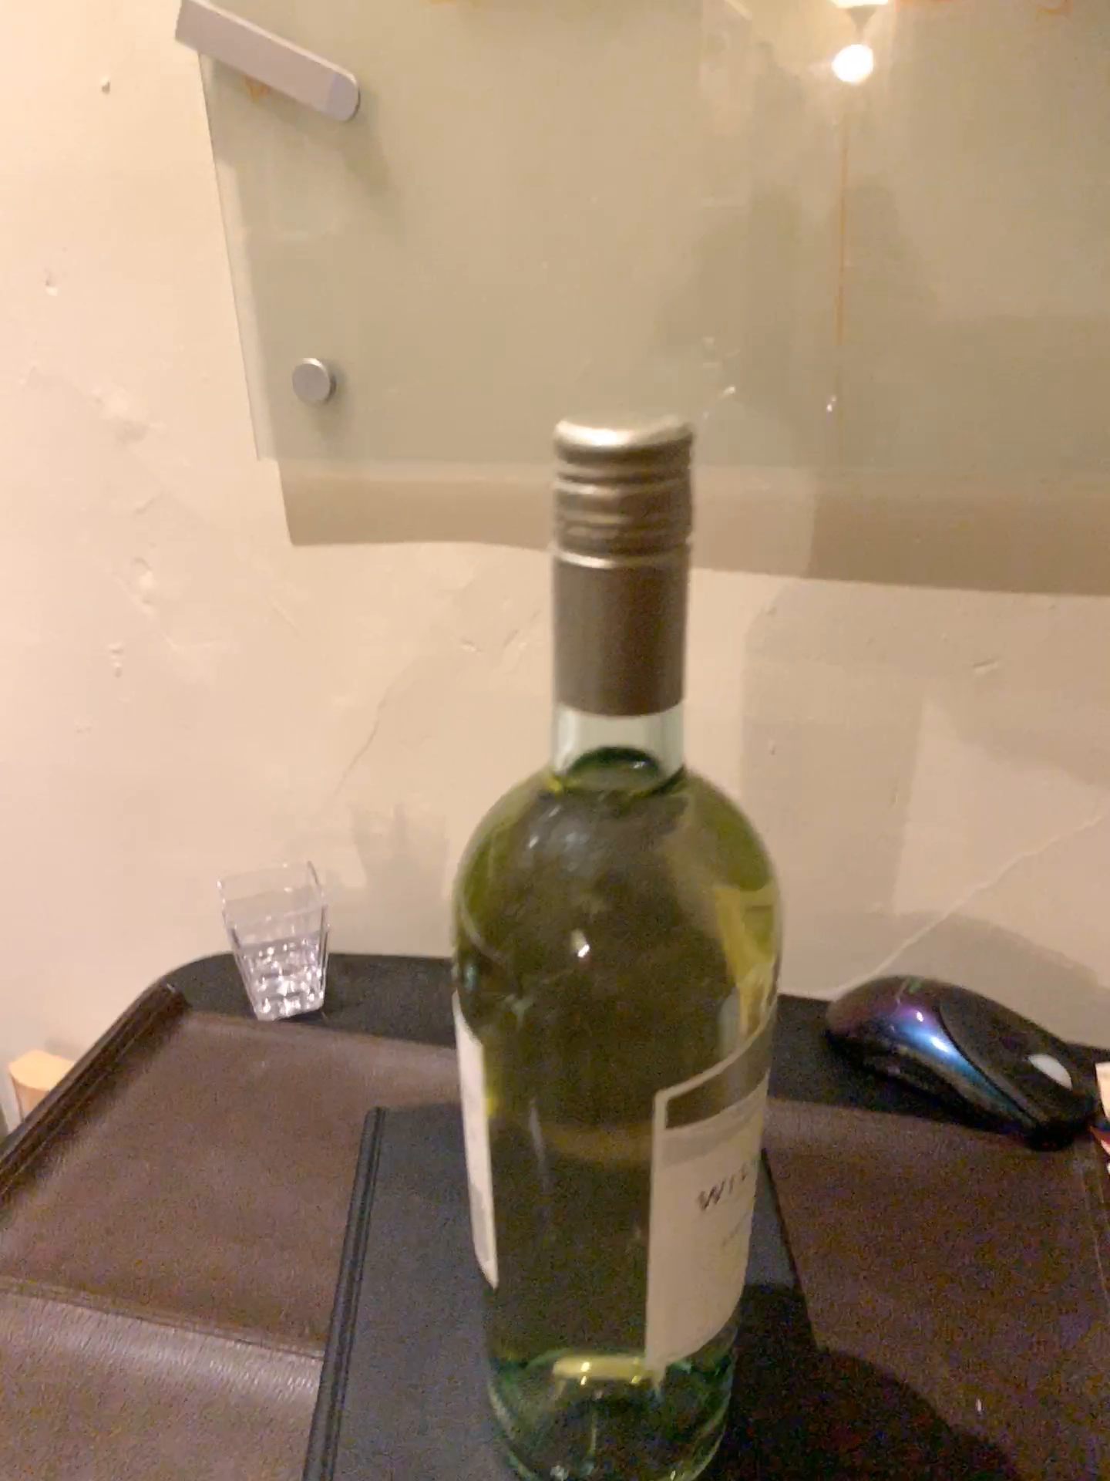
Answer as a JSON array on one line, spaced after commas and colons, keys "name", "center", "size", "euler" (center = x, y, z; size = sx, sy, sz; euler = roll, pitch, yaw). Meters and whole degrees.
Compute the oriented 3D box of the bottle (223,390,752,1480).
[{"name": "bottle", "center": [-0.001, 0.071, 0.299], "size": [0.090, 0.298, 0.090], "euler": [-2, 24, 1]}]
